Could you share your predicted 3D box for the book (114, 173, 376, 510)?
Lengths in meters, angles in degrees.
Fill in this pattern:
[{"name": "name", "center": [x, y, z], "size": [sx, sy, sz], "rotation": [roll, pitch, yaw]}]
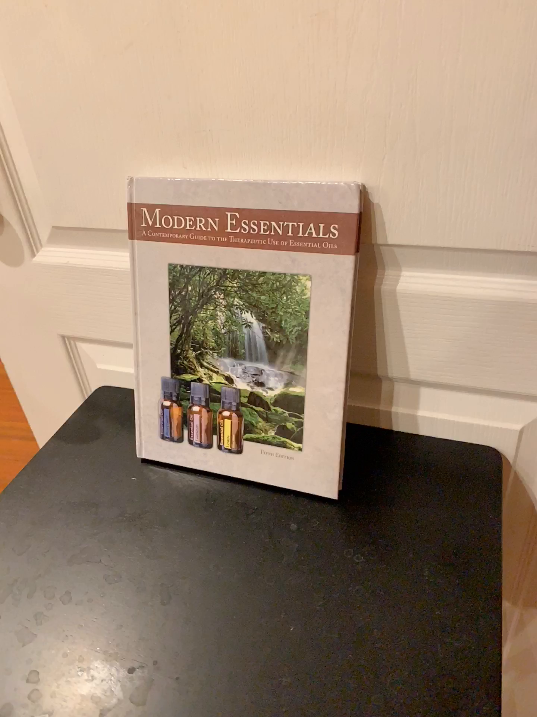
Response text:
[{"name": "book", "center": [-0.029, -0.018, 0.514], "size": [0.230, 0.289, 0.030], "rotation": [8, 18, 19]}]
